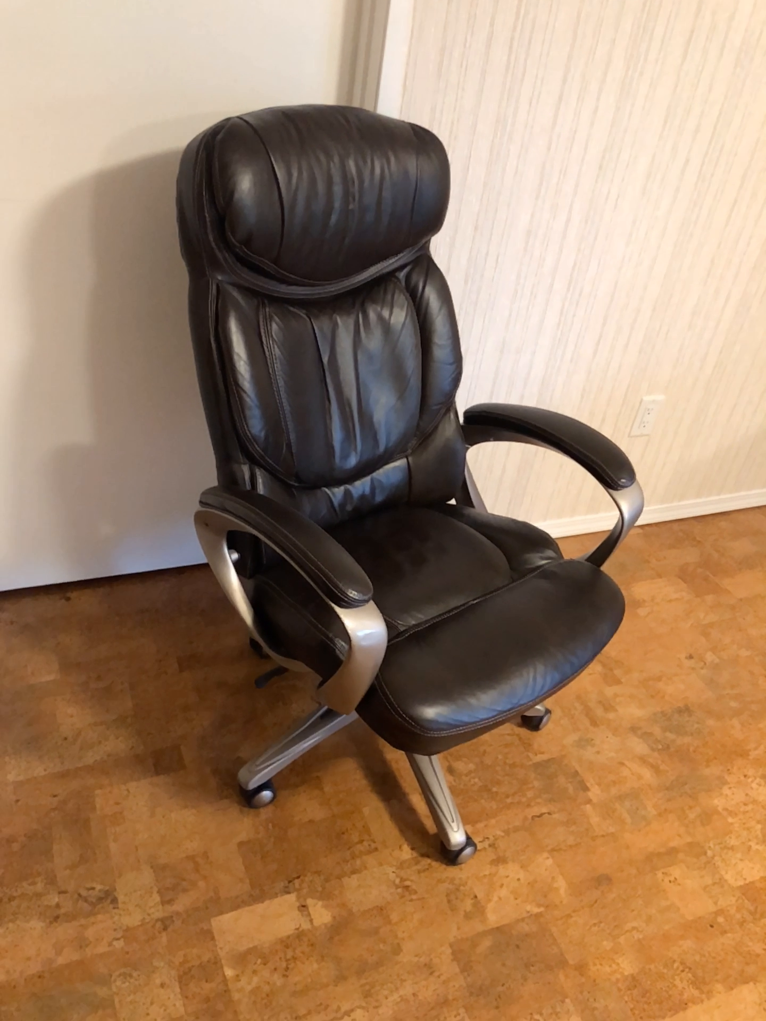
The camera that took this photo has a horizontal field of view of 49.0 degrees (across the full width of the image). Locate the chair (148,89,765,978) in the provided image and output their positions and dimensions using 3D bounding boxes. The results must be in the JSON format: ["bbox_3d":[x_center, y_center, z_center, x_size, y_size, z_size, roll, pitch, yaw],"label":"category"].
[{"bbox_3d":[0.112,-0.008,1.350,0.692,1.086,0.651,-23,46,-38],"label":"chair"}]
